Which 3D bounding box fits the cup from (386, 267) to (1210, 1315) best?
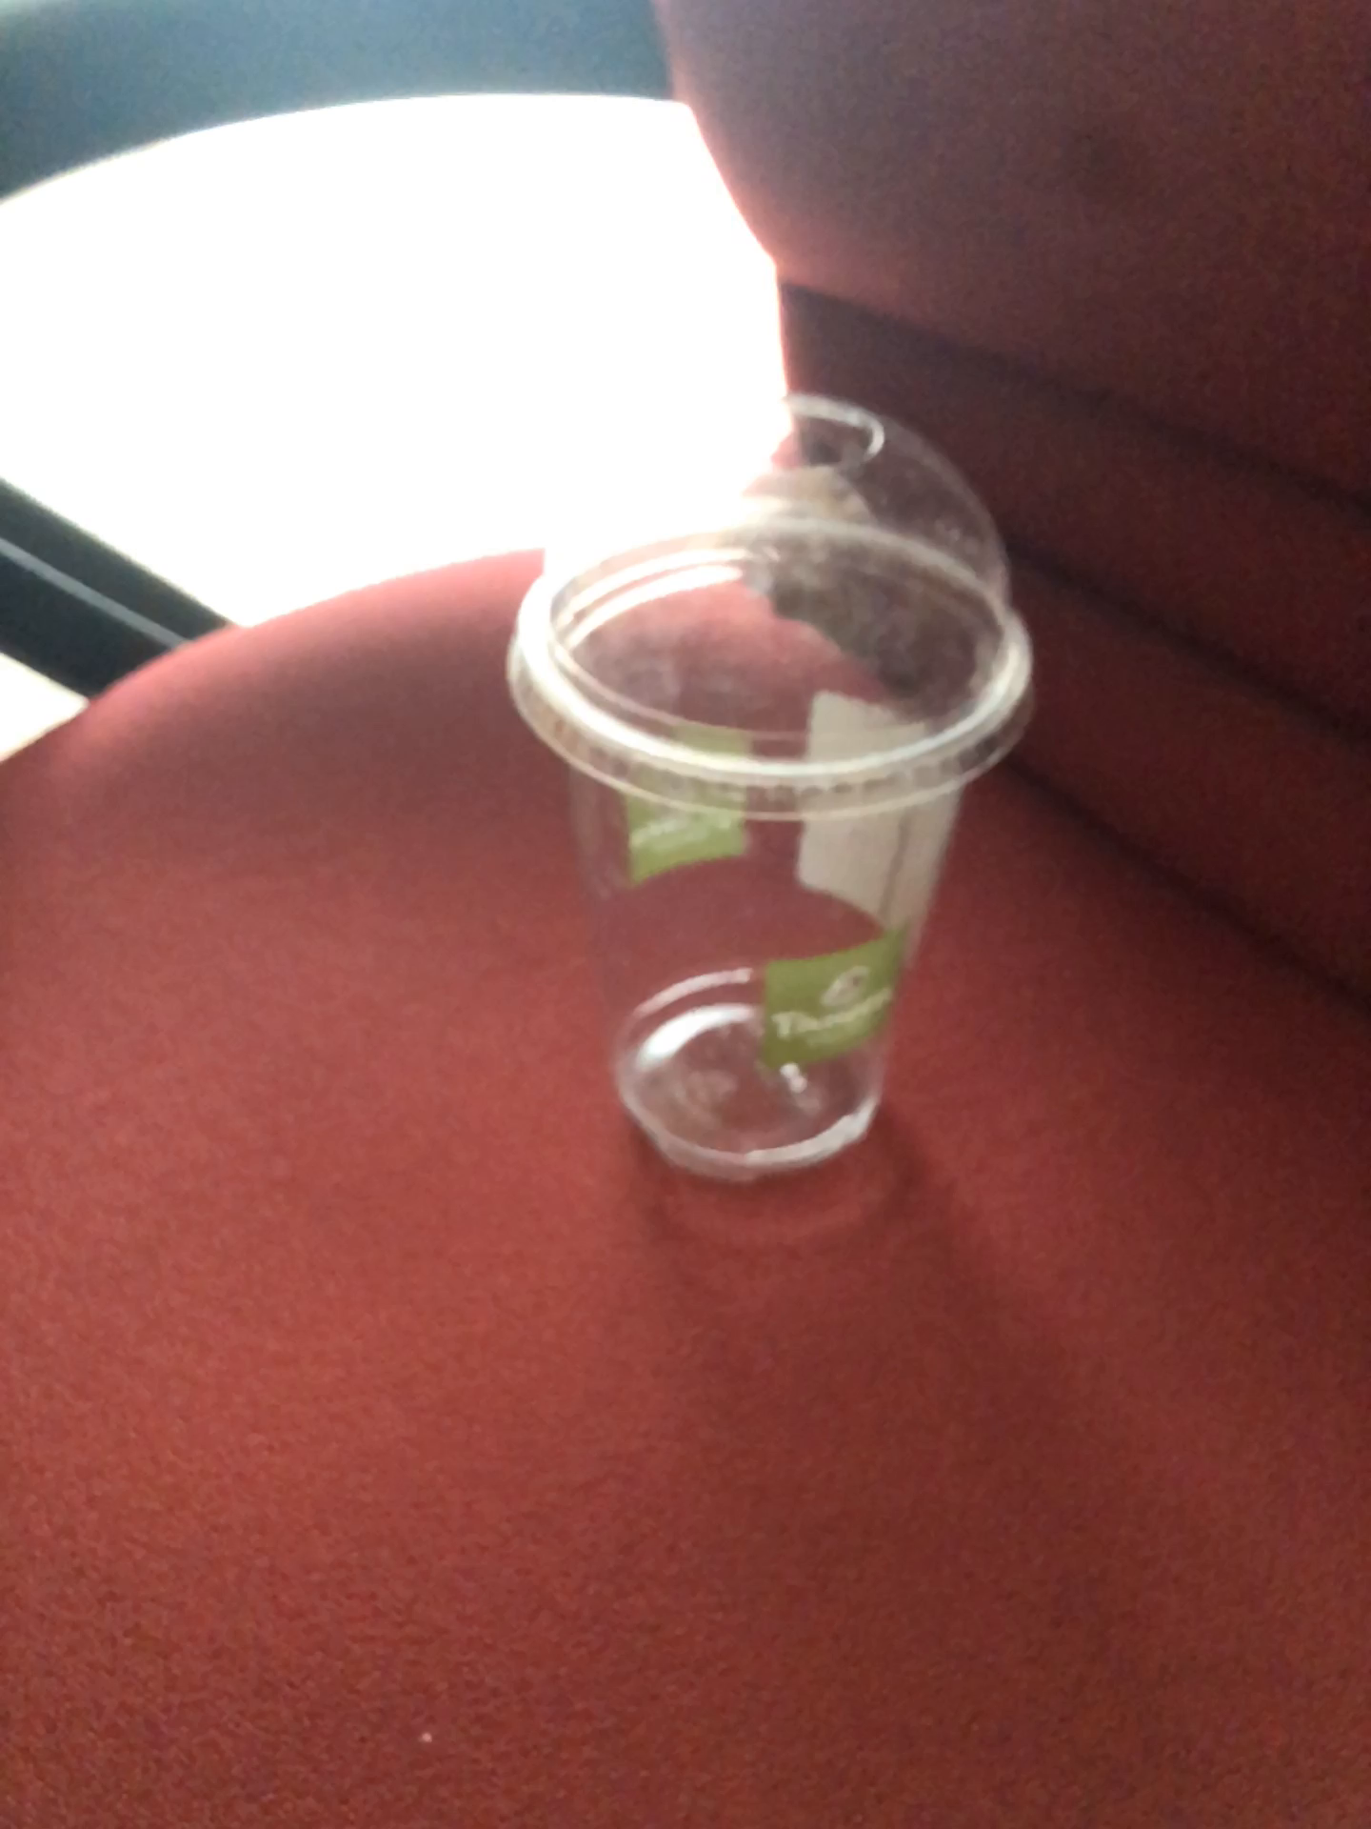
[{"bbox_3d":[0.013,-0.025,0.295,0.090,0.150,0.100,-21,44,-26],"label":"cup"}]
